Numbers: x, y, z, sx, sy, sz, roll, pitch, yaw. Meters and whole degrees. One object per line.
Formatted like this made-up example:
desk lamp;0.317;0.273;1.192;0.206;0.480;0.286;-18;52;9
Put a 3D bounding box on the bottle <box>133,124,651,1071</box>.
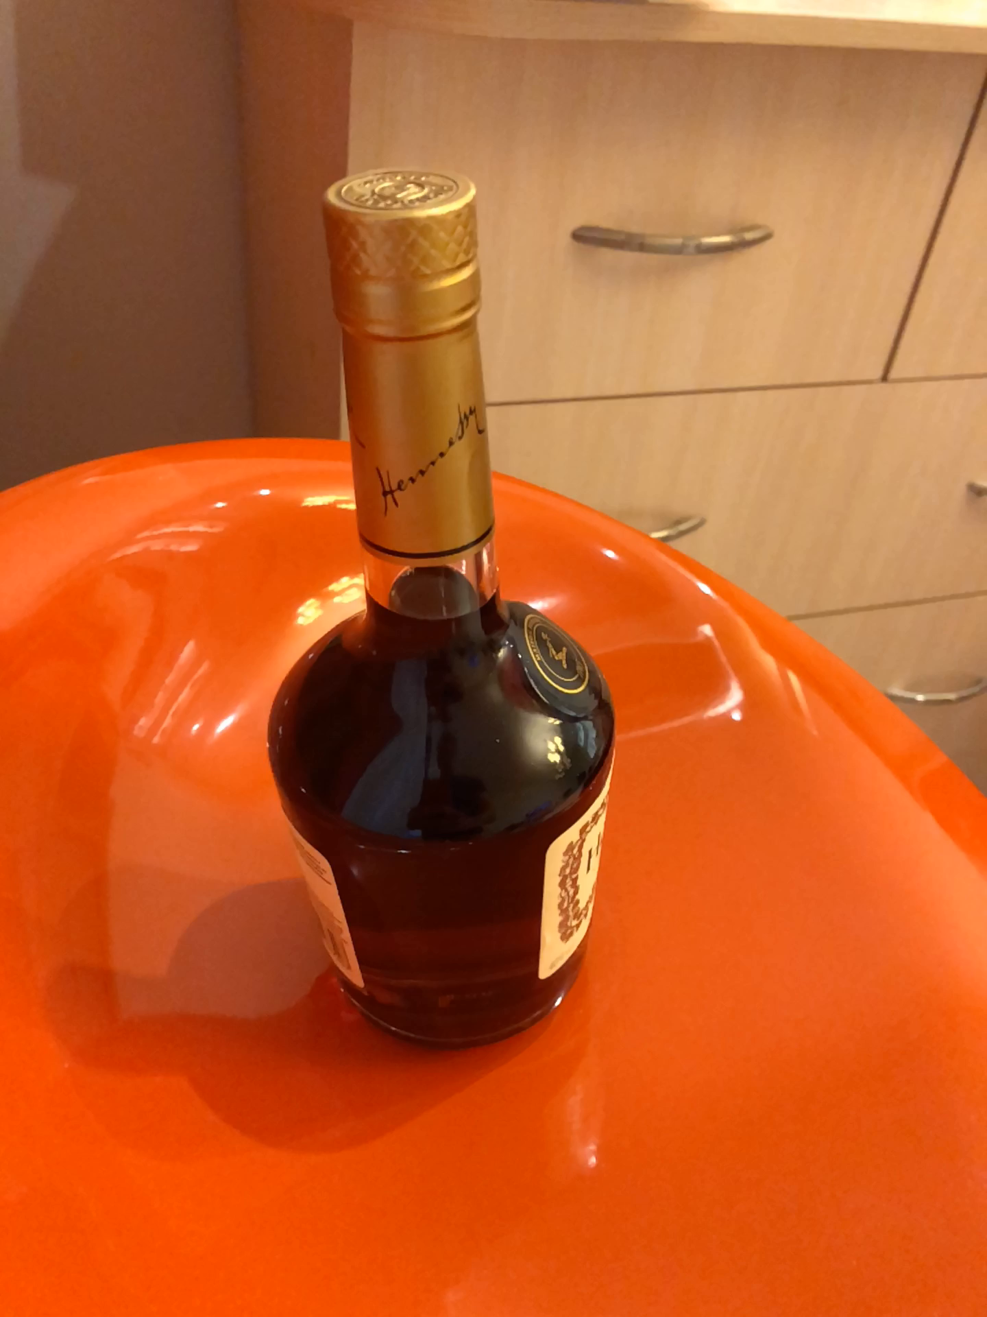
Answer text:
bottle;-0.013;0.000;0.265;0.079;0.218;0.080;0;39;0
